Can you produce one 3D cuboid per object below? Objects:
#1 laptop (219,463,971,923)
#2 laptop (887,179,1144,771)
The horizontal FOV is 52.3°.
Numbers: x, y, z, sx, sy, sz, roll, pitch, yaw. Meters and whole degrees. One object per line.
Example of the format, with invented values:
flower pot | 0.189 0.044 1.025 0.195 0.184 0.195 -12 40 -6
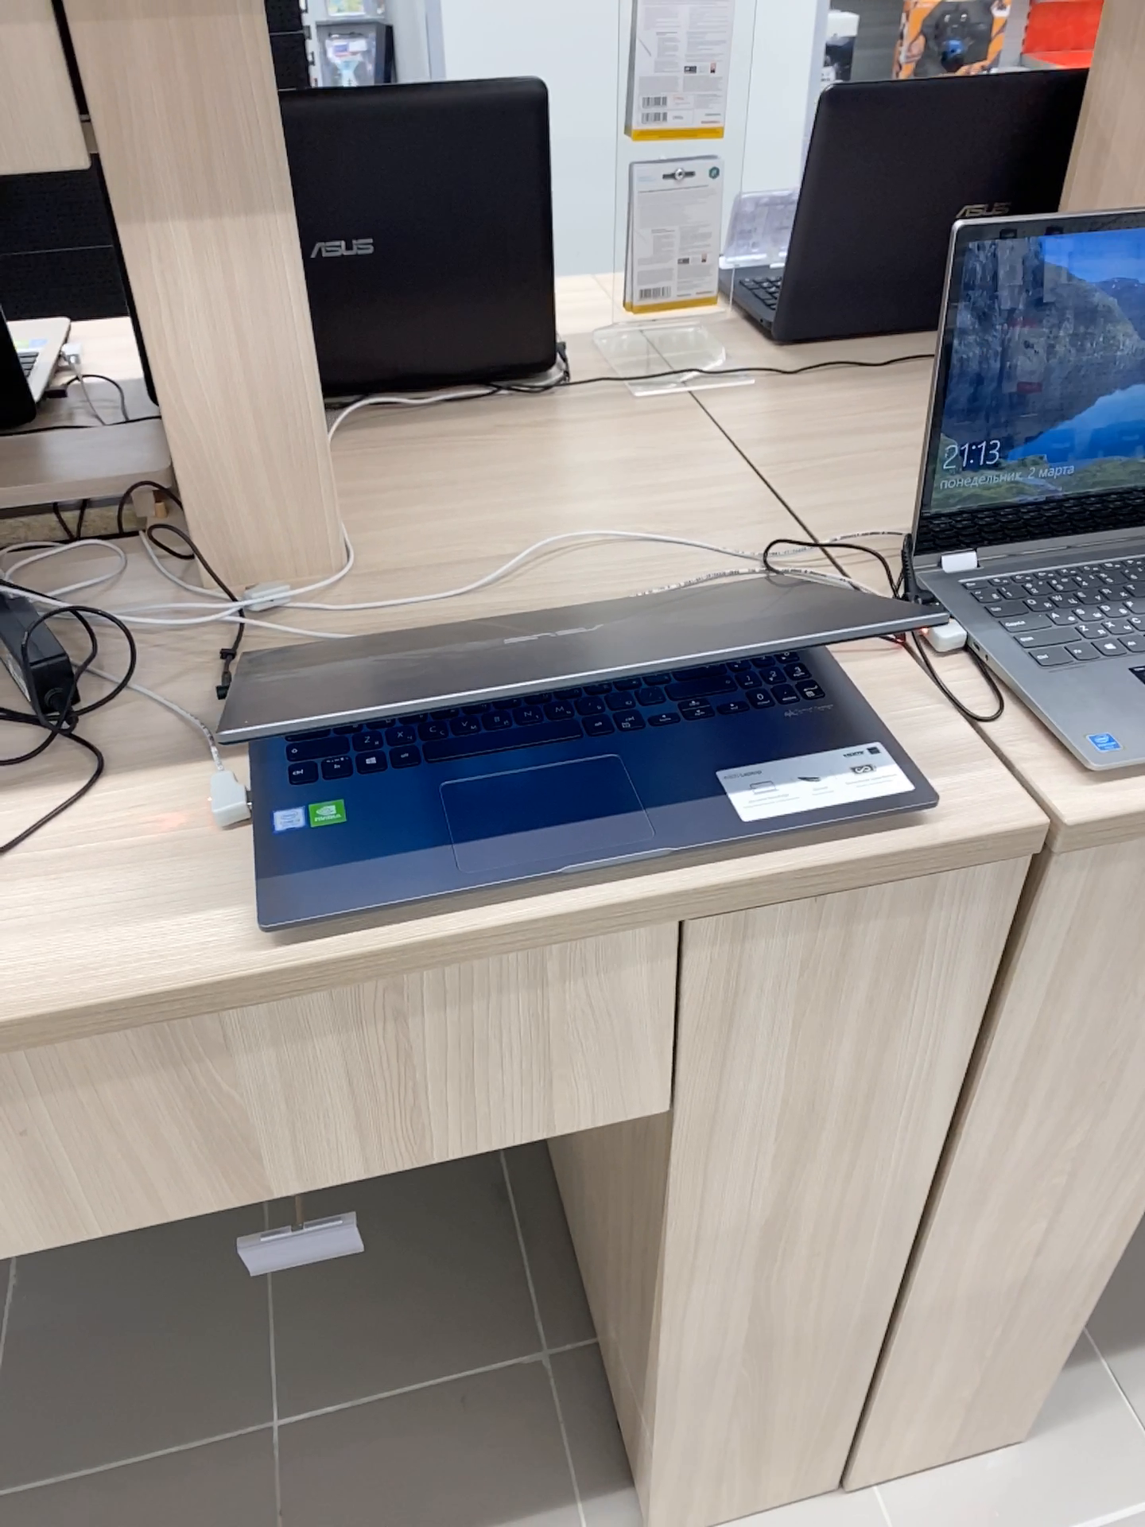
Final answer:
laptop | -0.005 -0.057 0.650 0.354 0.097 0.231 -9 38 -11
laptop | 0.428 -0.192 0.712 0.351 0.222 0.260 -10 40 -12
